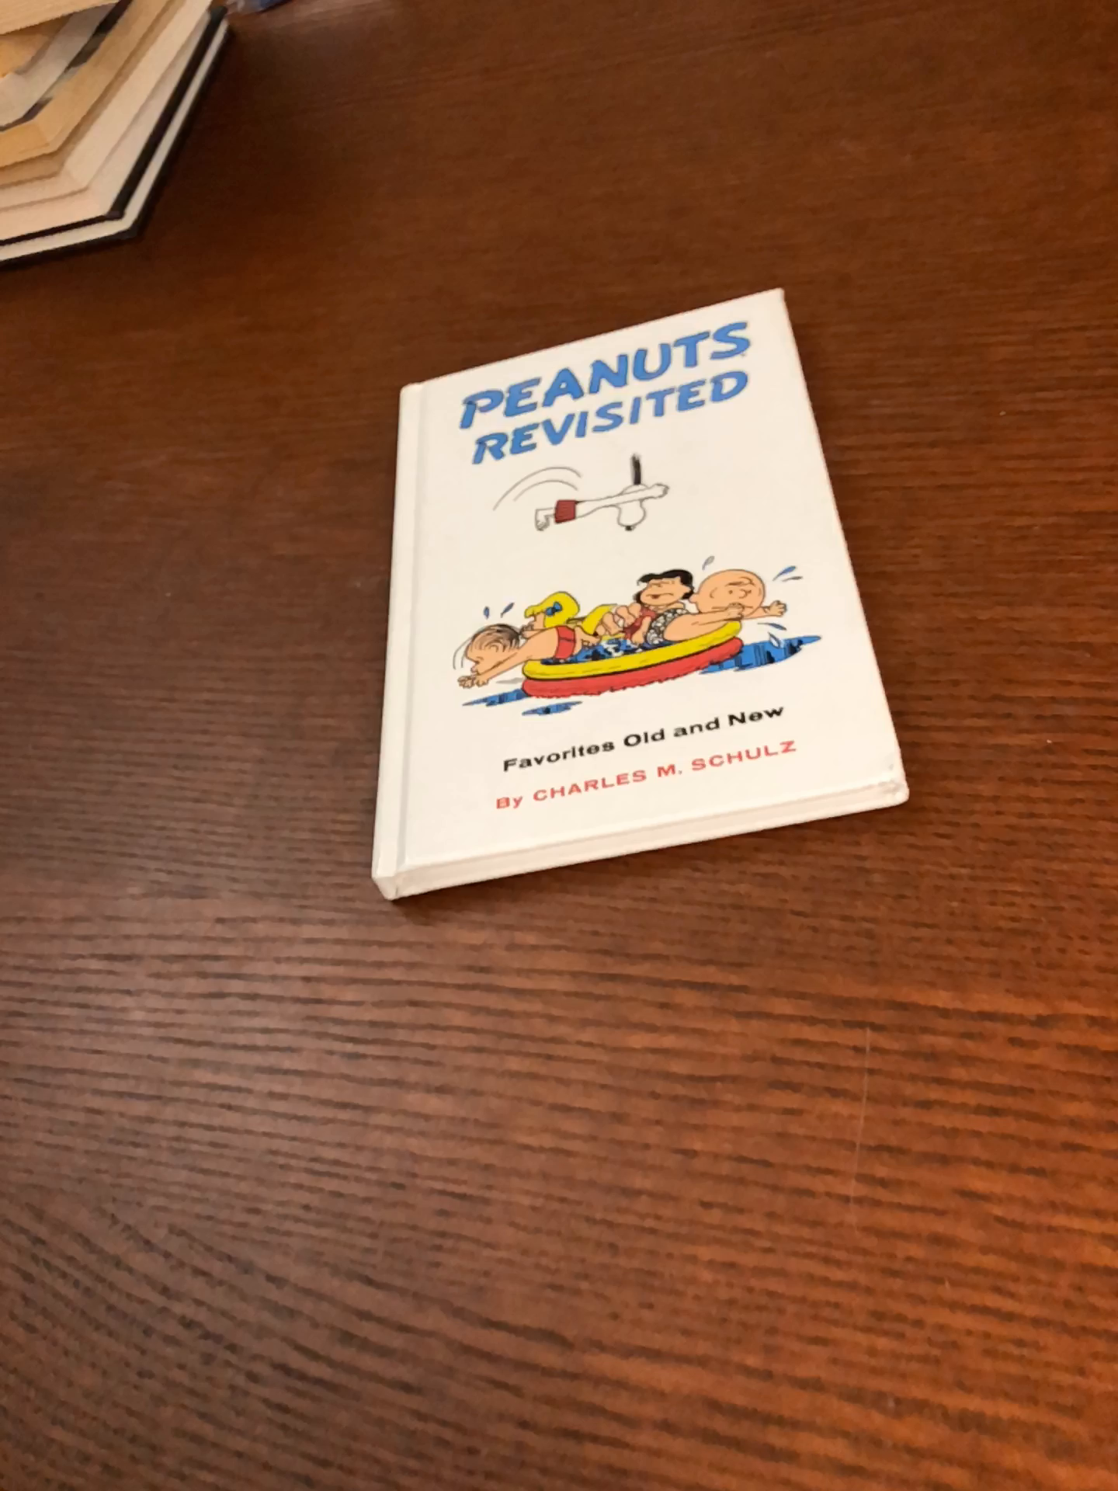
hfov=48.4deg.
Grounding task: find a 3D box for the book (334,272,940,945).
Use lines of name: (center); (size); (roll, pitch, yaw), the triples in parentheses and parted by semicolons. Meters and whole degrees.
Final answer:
book: (0.014, -0.054, 0.377); (0.150, 0.020, 0.221); (-11, 51, 11)
